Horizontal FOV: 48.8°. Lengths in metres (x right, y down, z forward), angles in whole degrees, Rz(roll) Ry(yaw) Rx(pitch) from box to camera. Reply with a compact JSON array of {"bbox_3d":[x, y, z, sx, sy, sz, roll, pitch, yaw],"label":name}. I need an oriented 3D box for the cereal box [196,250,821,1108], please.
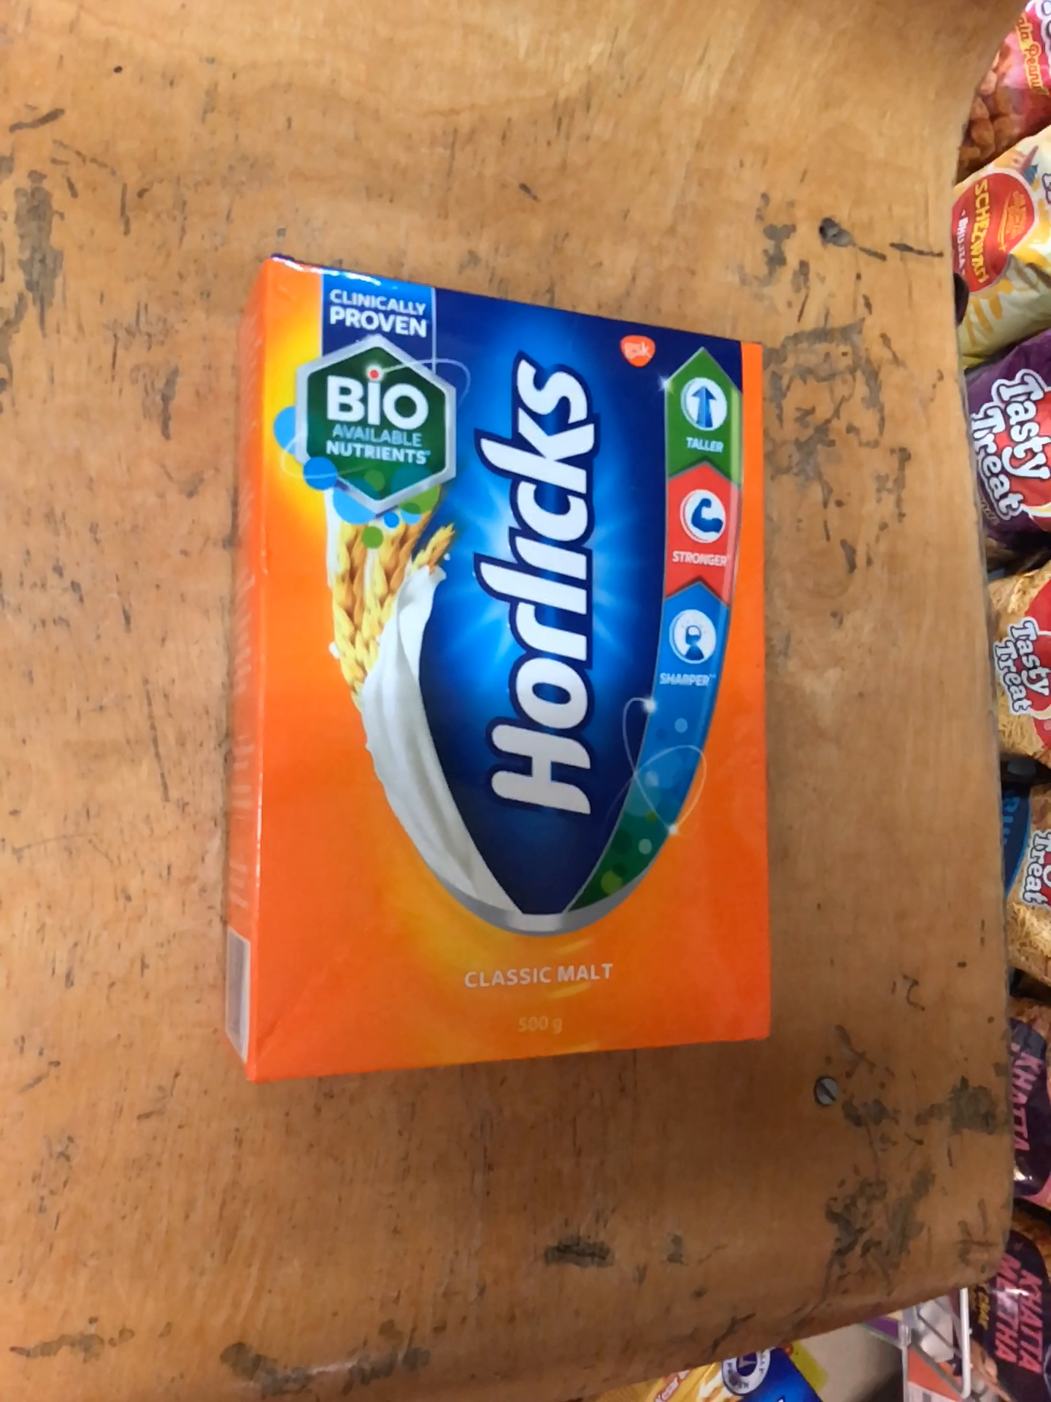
[{"bbox_3d":[-0.006,-0.002,0.307,0.140,0.080,0.180,3,88,-22],"label":"cereal box"}]
